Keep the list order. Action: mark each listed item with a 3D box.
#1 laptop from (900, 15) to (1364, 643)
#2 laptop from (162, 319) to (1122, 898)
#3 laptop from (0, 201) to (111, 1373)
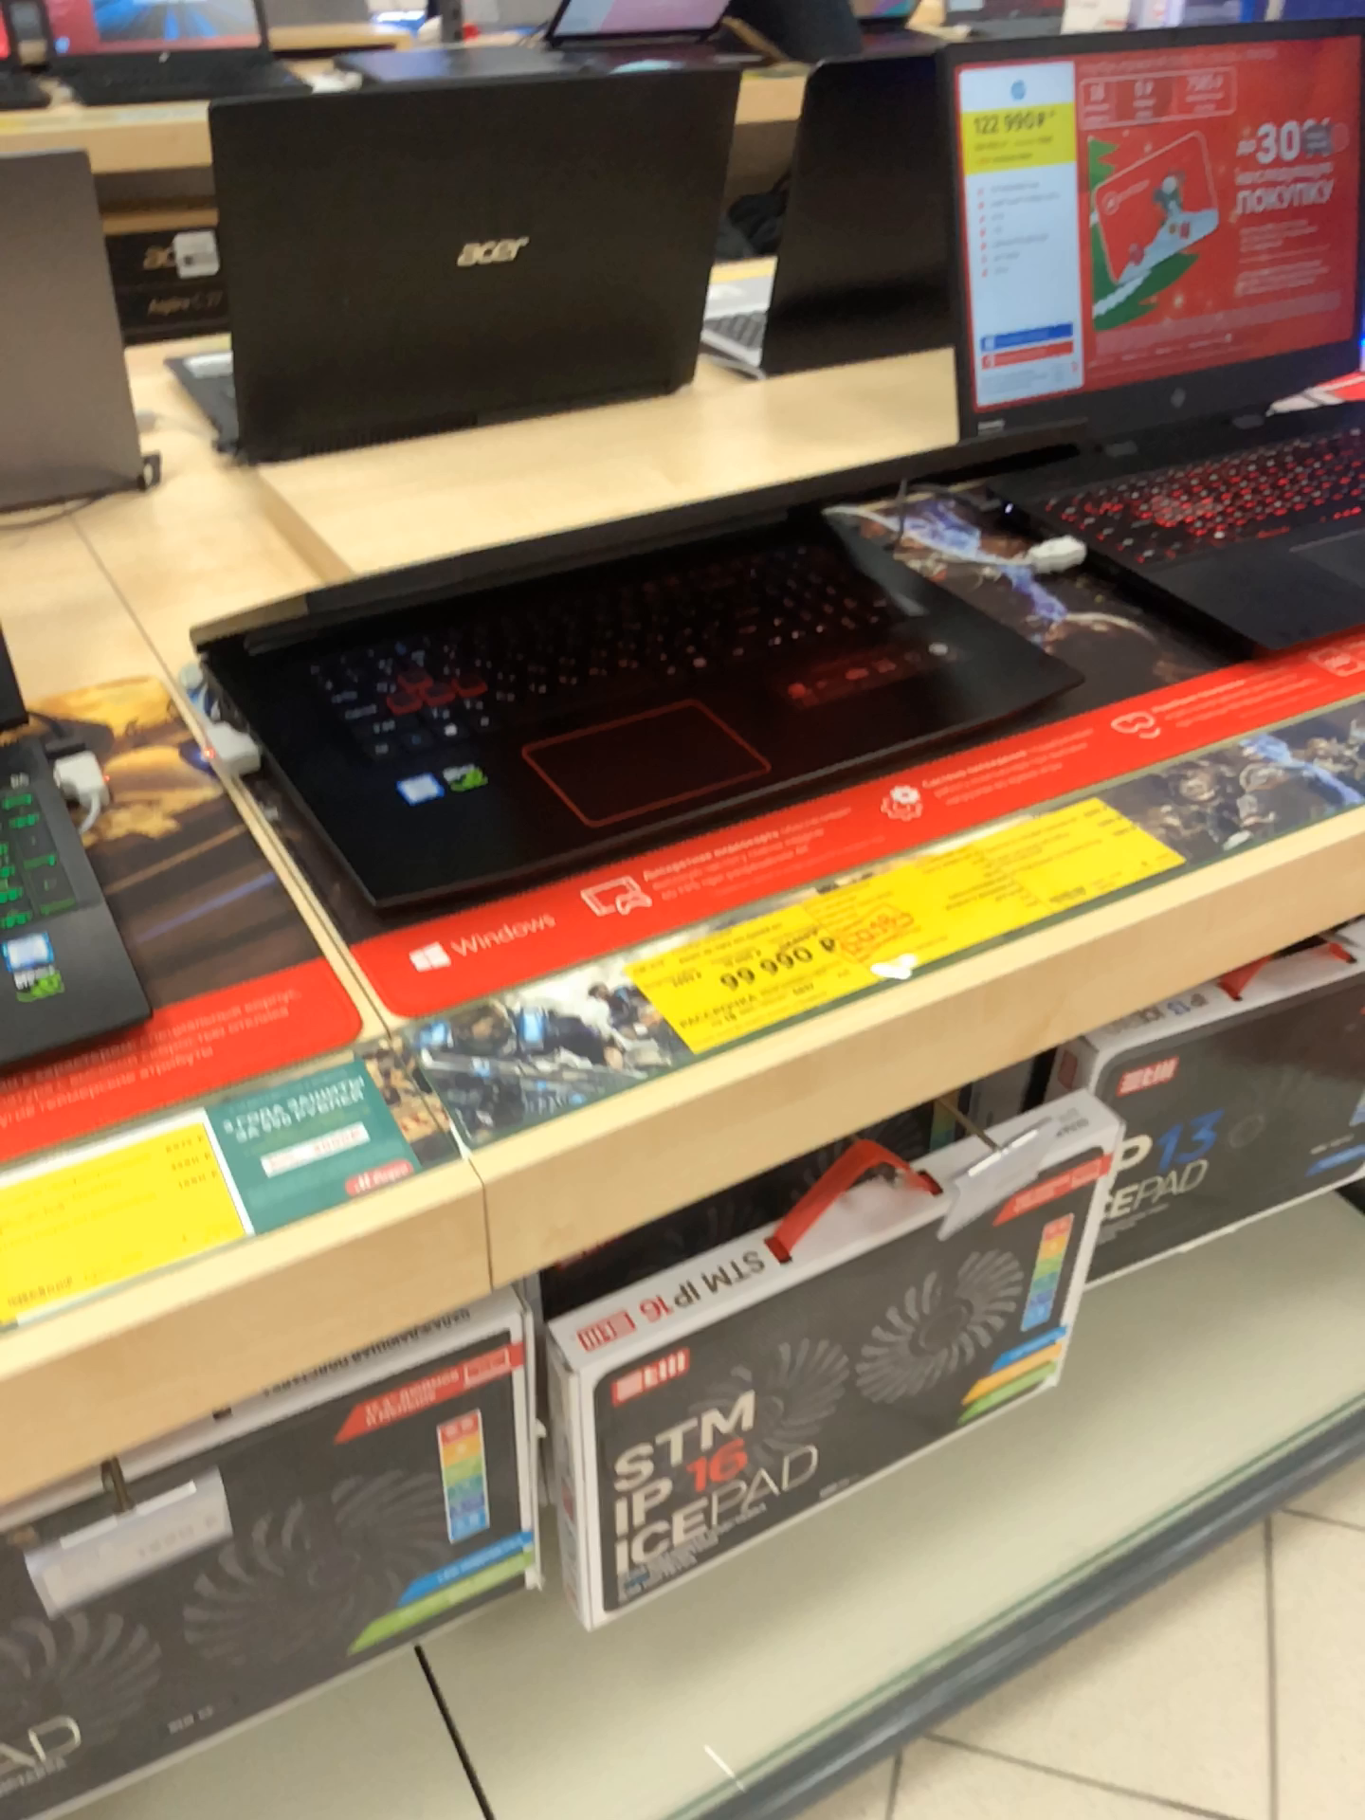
[{"bbox_3d":[0.426,-0.409,0.999,0.377,0.250,0.356,-18,43,-24],"label":"laptop"},{"bbox_3d":[-0.022,-0.189,0.808,0.419,0.124,0.262,-20,42,-25],"label":"laptop"},{"bbox_3d":[-0.456,-0.099,0.578,0.351,0.230,0.343,-17,41,-25],"label":"laptop"}]
